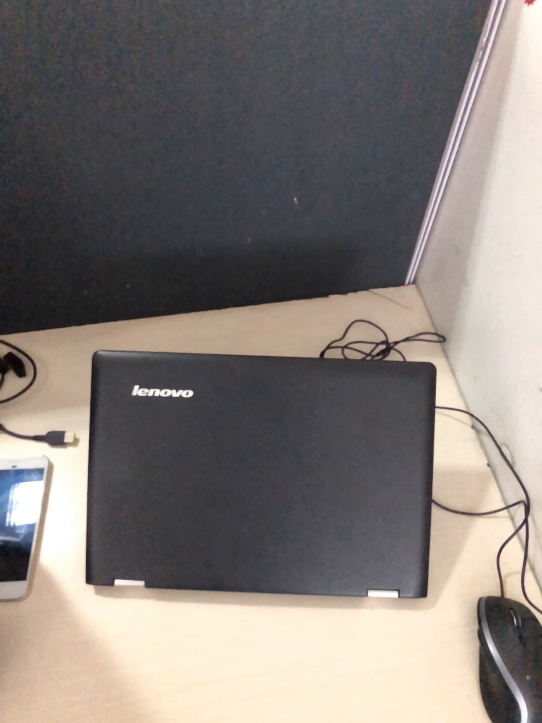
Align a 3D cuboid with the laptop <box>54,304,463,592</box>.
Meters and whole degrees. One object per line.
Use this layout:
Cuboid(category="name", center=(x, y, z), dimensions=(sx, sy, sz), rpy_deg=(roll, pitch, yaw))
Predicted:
Cuboid(category="laptop", center=(-0.009, 0.087, 0.576), dimensions=(0.324, 0.142, 0.205), rpy_deg=(2, 62, 0))
